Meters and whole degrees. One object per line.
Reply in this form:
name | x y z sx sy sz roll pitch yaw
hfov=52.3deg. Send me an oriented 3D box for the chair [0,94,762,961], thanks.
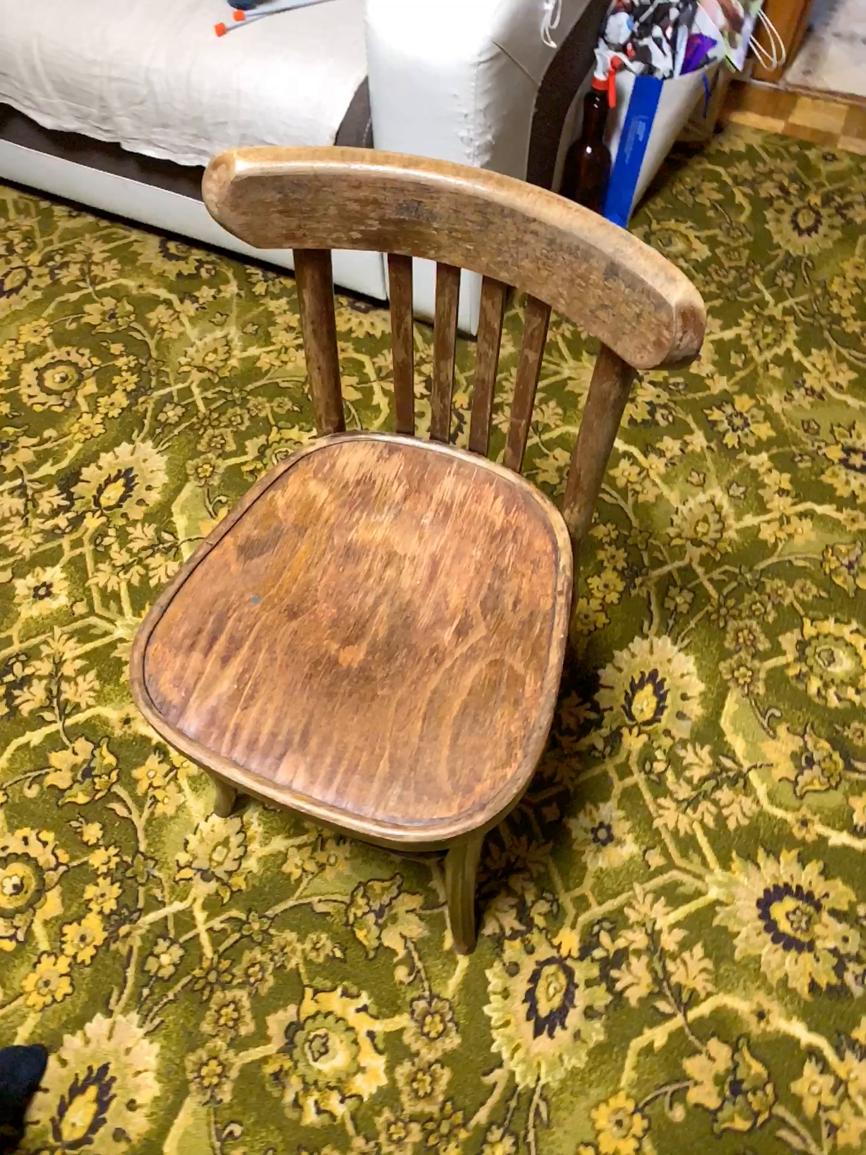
chair | -0.044 0.043 0.870 0.400 0.736 0.412 24 64 14
